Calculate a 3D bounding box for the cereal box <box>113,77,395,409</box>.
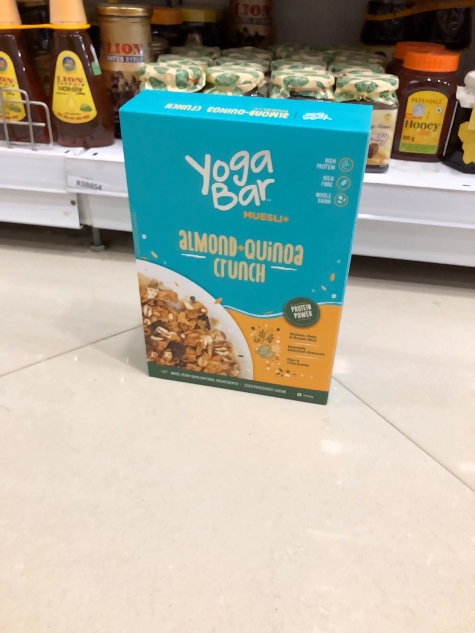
[{"bbox_3d":[0.010,-0.047,0.401,0.170,0.228,0.060,8,35,9],"label":"cereal box"}]
